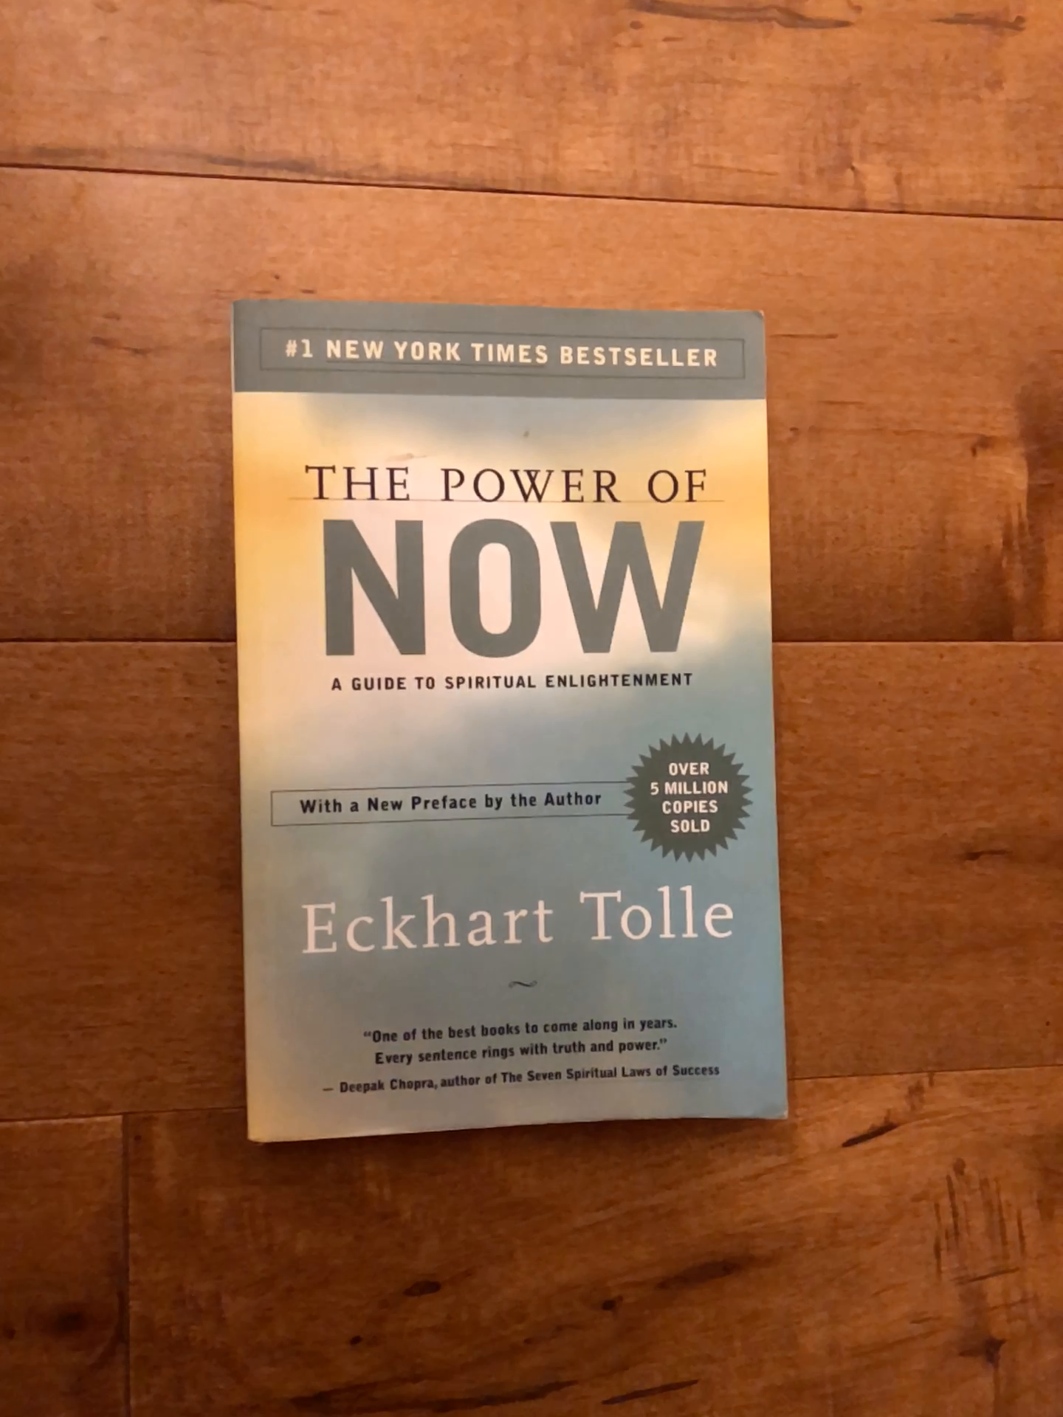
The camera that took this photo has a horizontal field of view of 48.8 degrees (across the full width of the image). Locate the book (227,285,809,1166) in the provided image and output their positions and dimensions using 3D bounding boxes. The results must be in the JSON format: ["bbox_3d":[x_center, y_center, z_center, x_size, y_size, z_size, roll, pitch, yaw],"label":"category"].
[{"bbox_3d":[-0.004,0.002,0.319,0.146,0.030,0.222,-1,88,-7],"label":"book"}]
